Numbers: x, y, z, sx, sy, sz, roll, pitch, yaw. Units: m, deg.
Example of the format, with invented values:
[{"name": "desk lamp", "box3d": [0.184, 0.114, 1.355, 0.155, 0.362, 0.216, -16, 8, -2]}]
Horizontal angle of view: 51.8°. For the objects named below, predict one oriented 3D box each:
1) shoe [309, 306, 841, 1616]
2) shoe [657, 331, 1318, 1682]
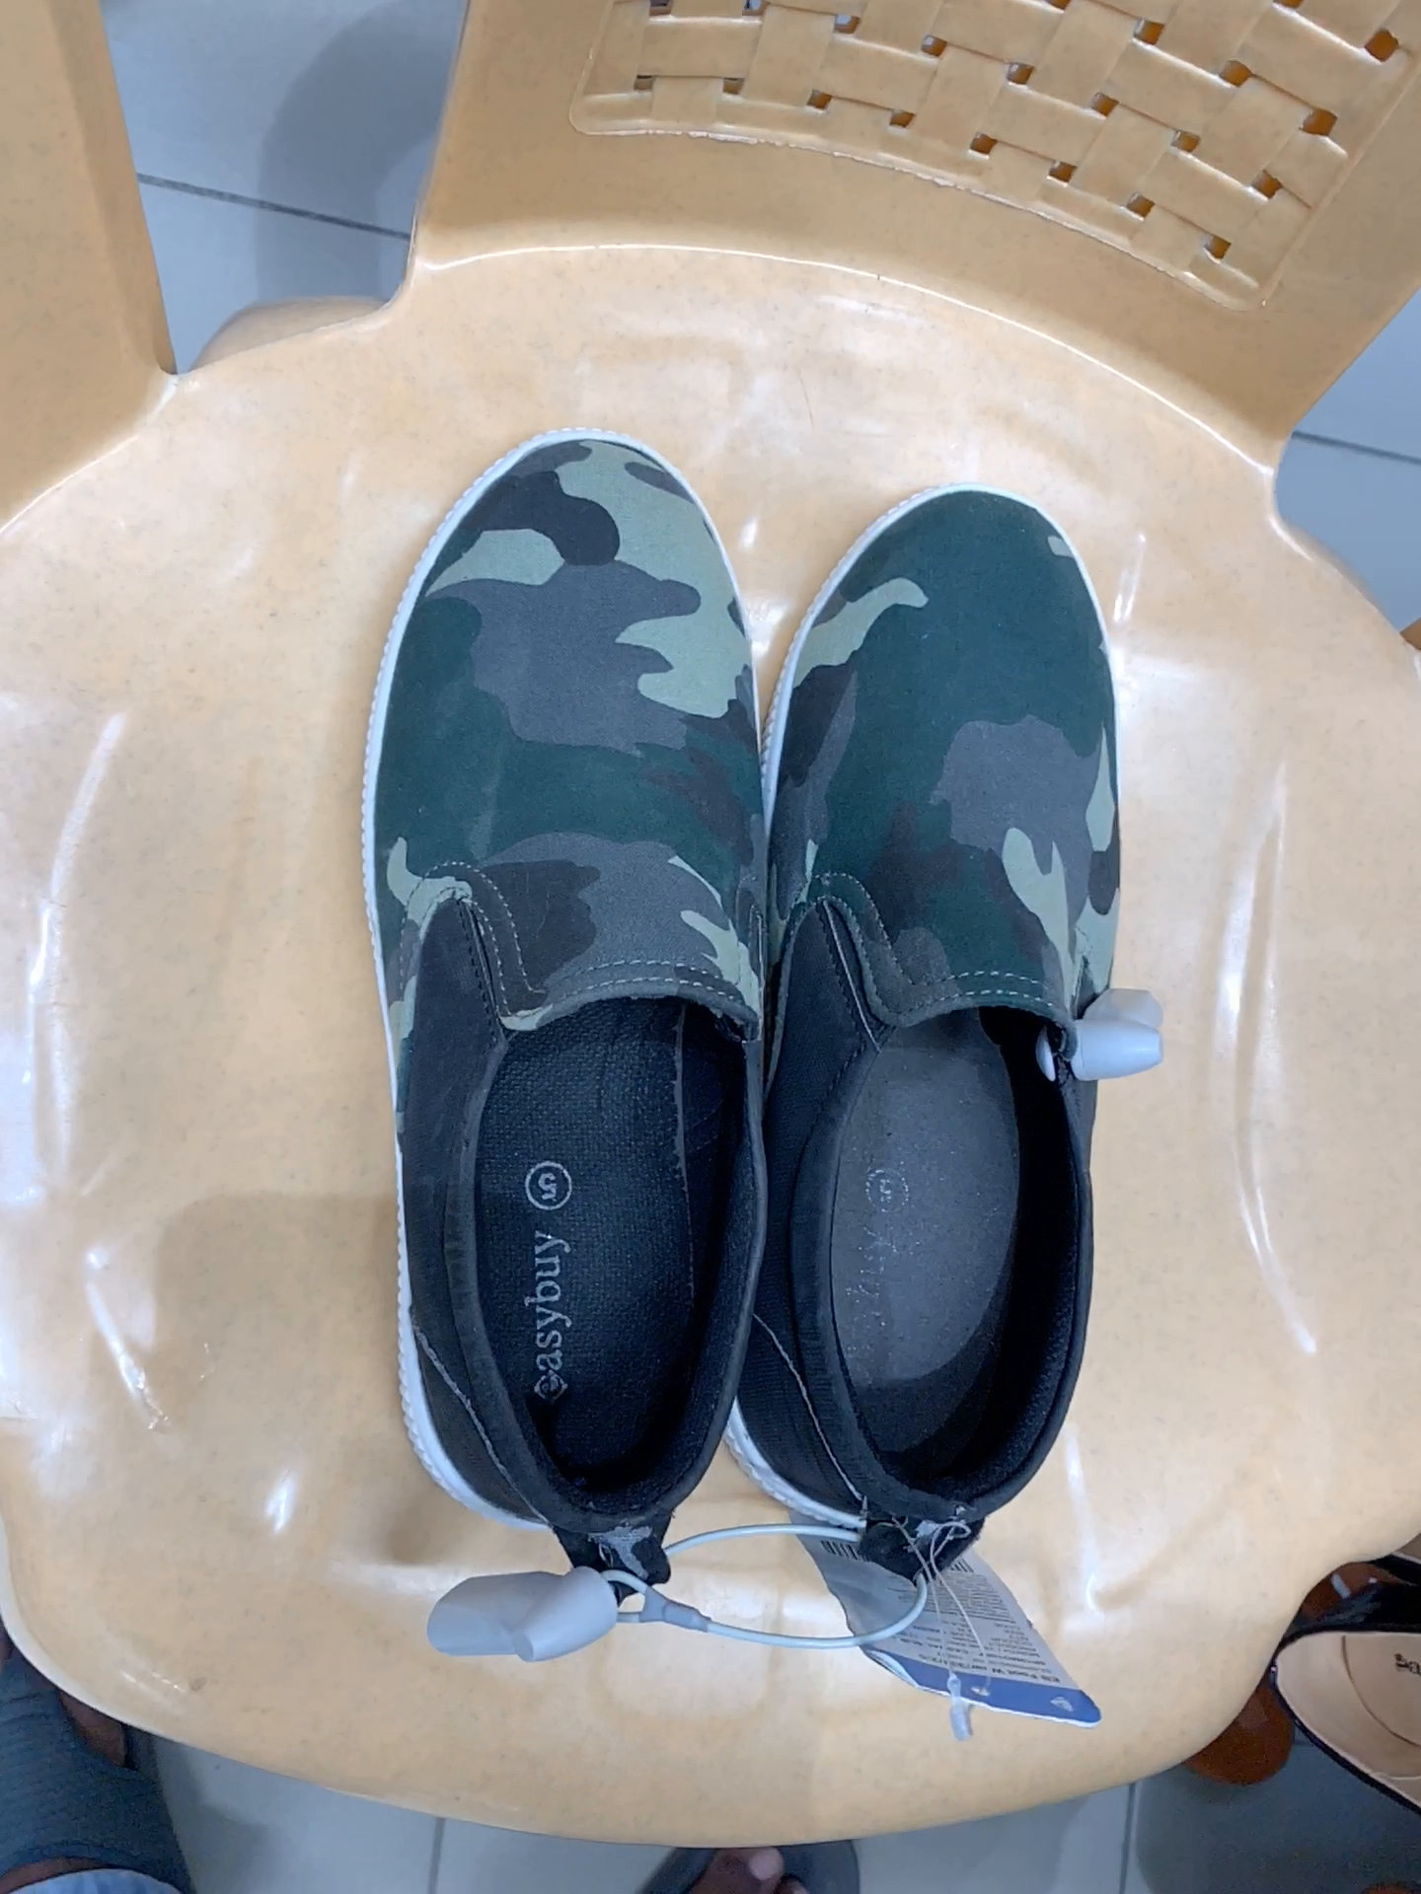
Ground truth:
[{"name": "shoe", "box3d": [-0.030, 0.003, 0.302, 0.090, 0.100, 0.220, 1, 87, -10]}, {"name": "shoe", "box3d": [0.054, 0.013, 0.319, 0.090, 0.100, 0.240, 8, 83, -9]}]
